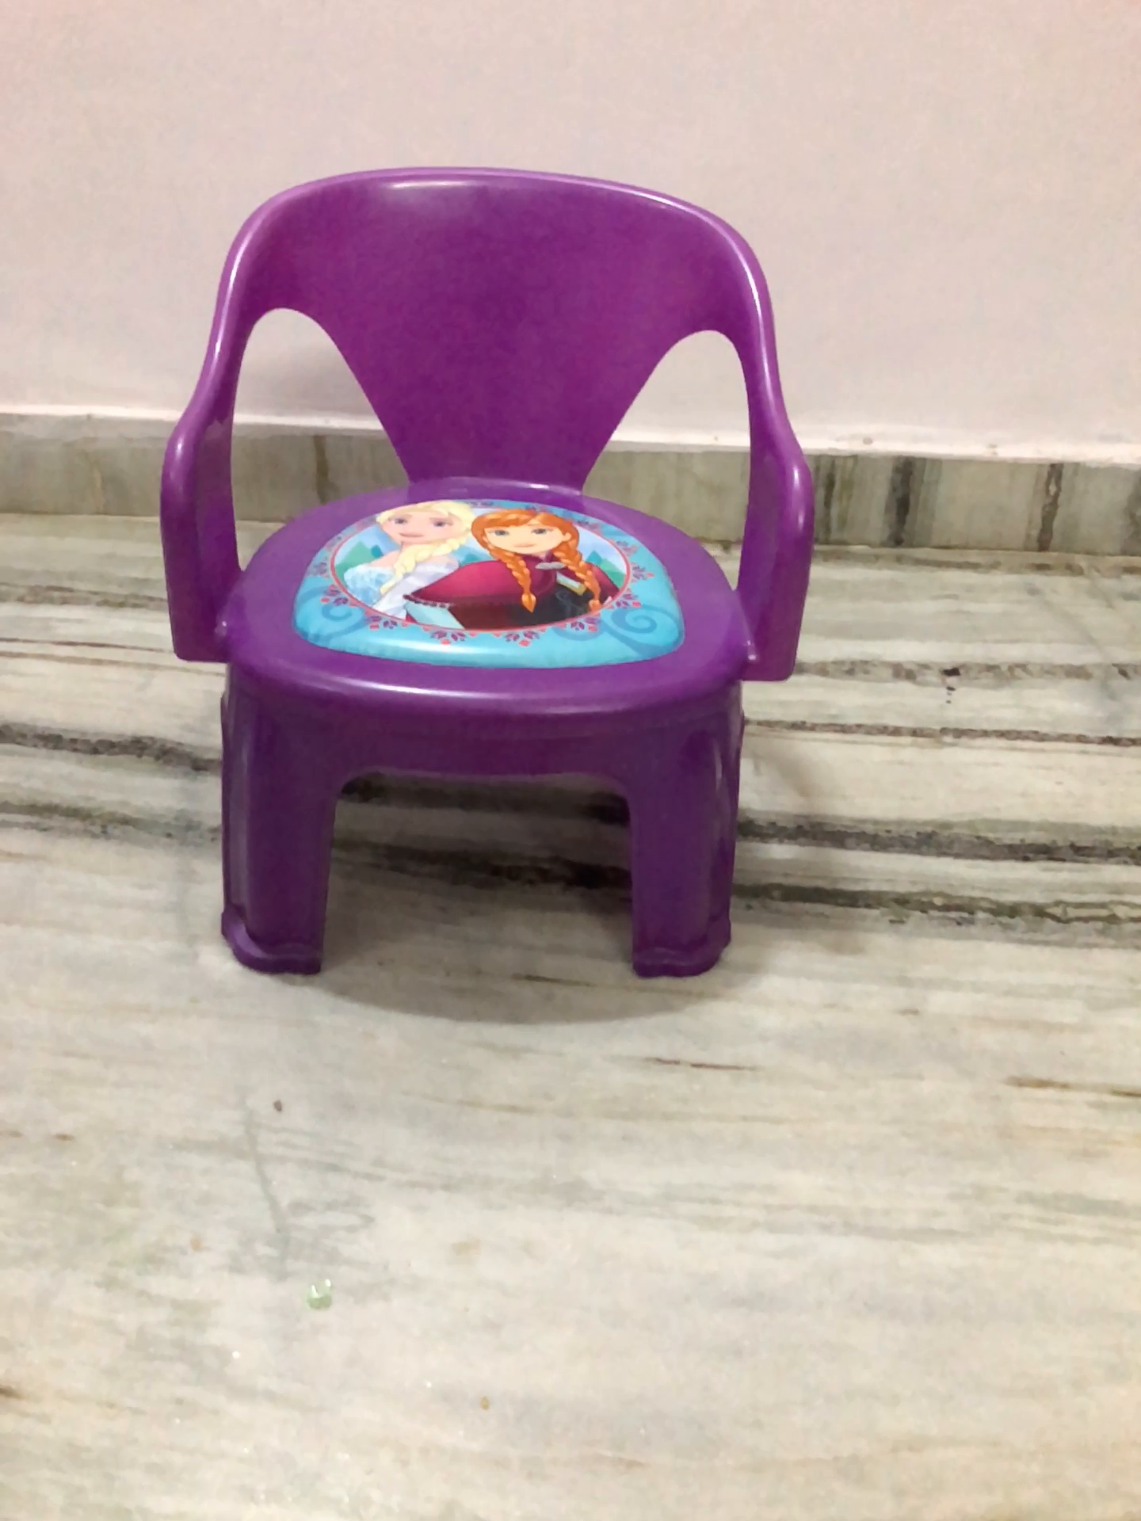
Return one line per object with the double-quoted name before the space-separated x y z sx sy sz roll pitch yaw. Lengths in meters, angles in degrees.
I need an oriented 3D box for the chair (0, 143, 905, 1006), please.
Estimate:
"chair" -0.053 -0.131 0.738 0.350 0.347 0.393 3 34 -1
